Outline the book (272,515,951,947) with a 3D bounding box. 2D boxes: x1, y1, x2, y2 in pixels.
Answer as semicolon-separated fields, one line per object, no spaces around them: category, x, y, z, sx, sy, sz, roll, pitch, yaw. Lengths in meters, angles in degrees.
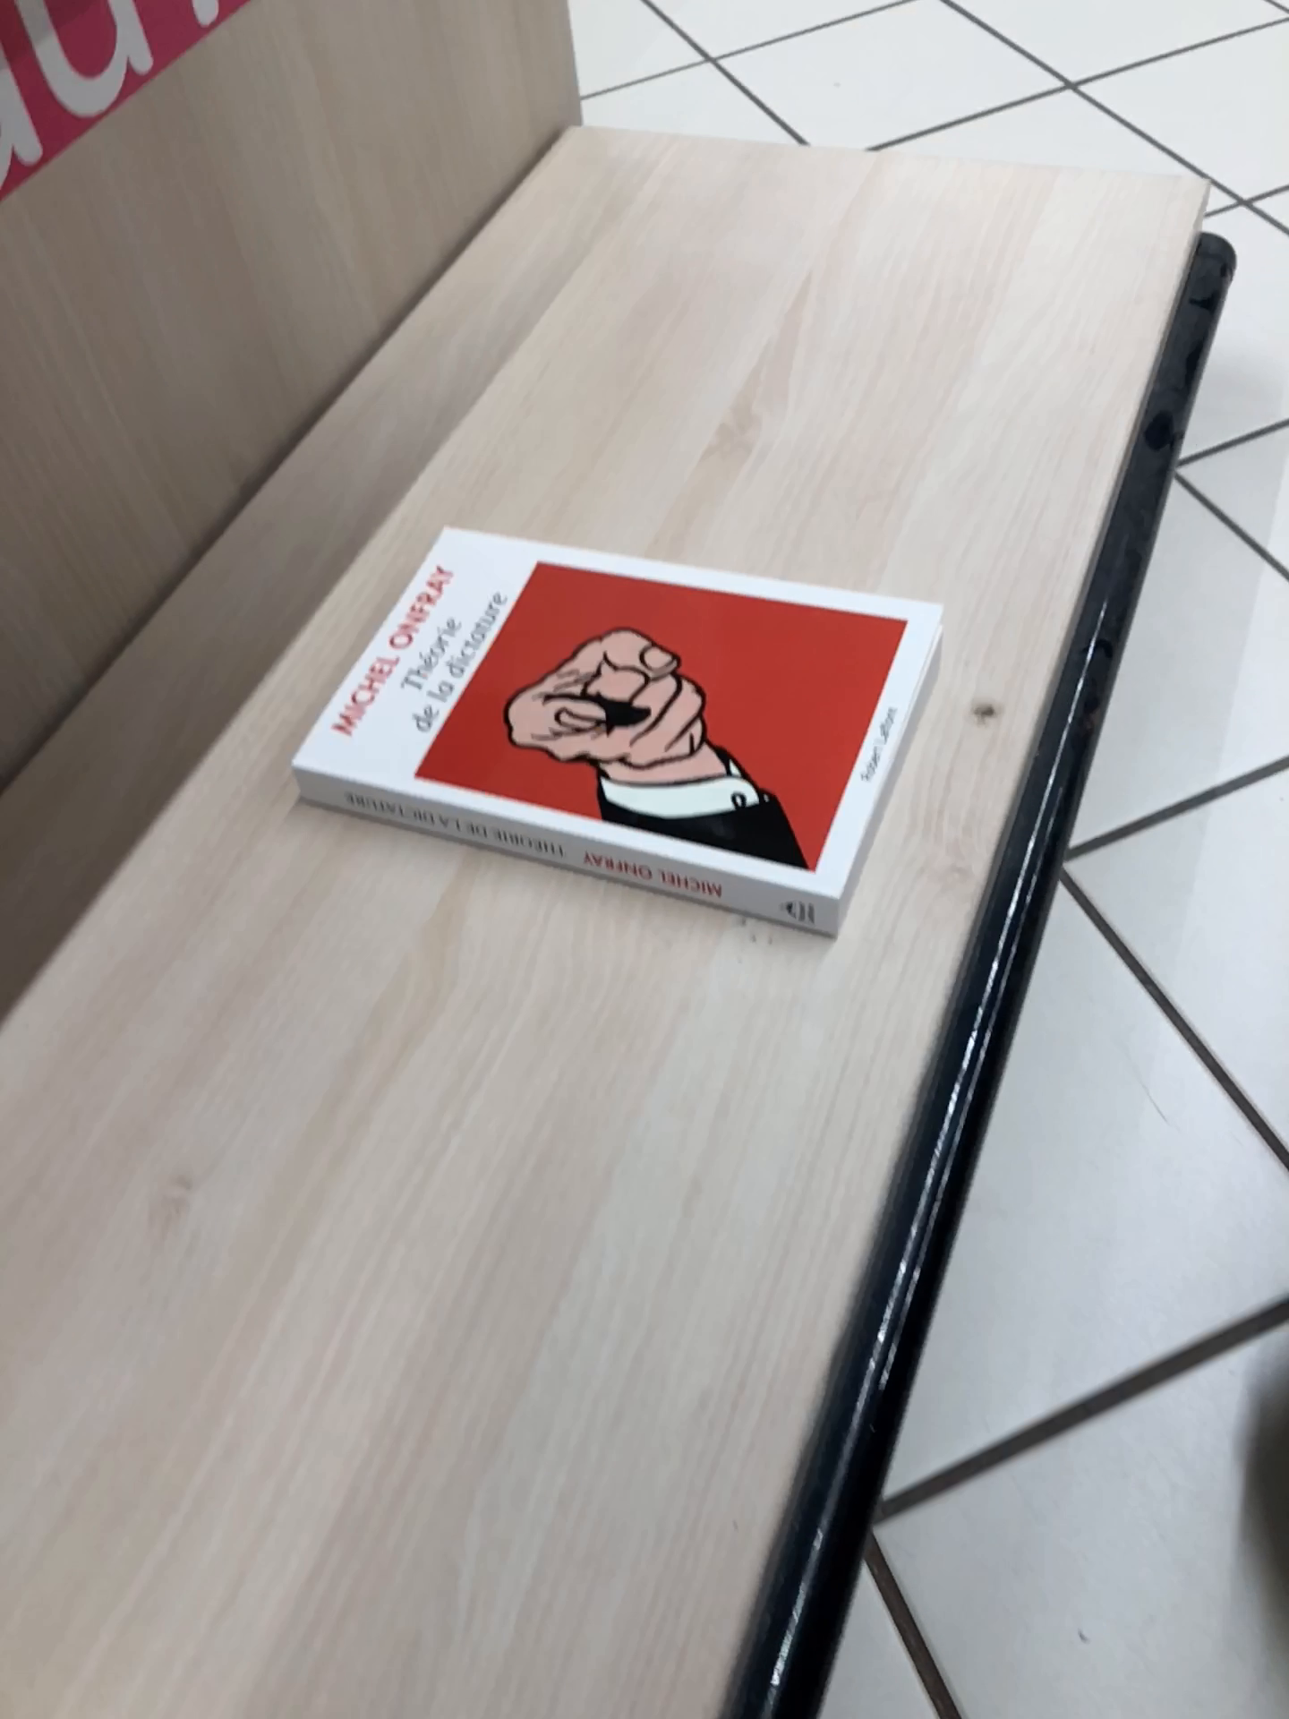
book;-0.008;-0.056;0.518;0.206;0.029;0.139;14;54;18
